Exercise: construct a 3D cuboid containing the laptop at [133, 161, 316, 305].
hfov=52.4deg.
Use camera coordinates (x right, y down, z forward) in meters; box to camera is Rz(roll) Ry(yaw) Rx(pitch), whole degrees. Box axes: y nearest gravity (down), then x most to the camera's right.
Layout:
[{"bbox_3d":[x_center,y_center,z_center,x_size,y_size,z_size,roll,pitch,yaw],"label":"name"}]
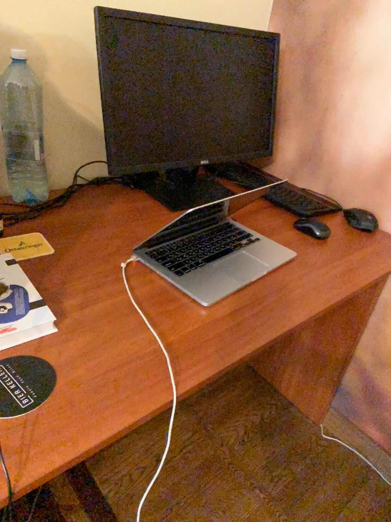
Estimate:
[{"bbox_3d":[0.062,-0.079,0.811,0.204,0.148,0.307,32,37,32],"label":"laptop"}]
